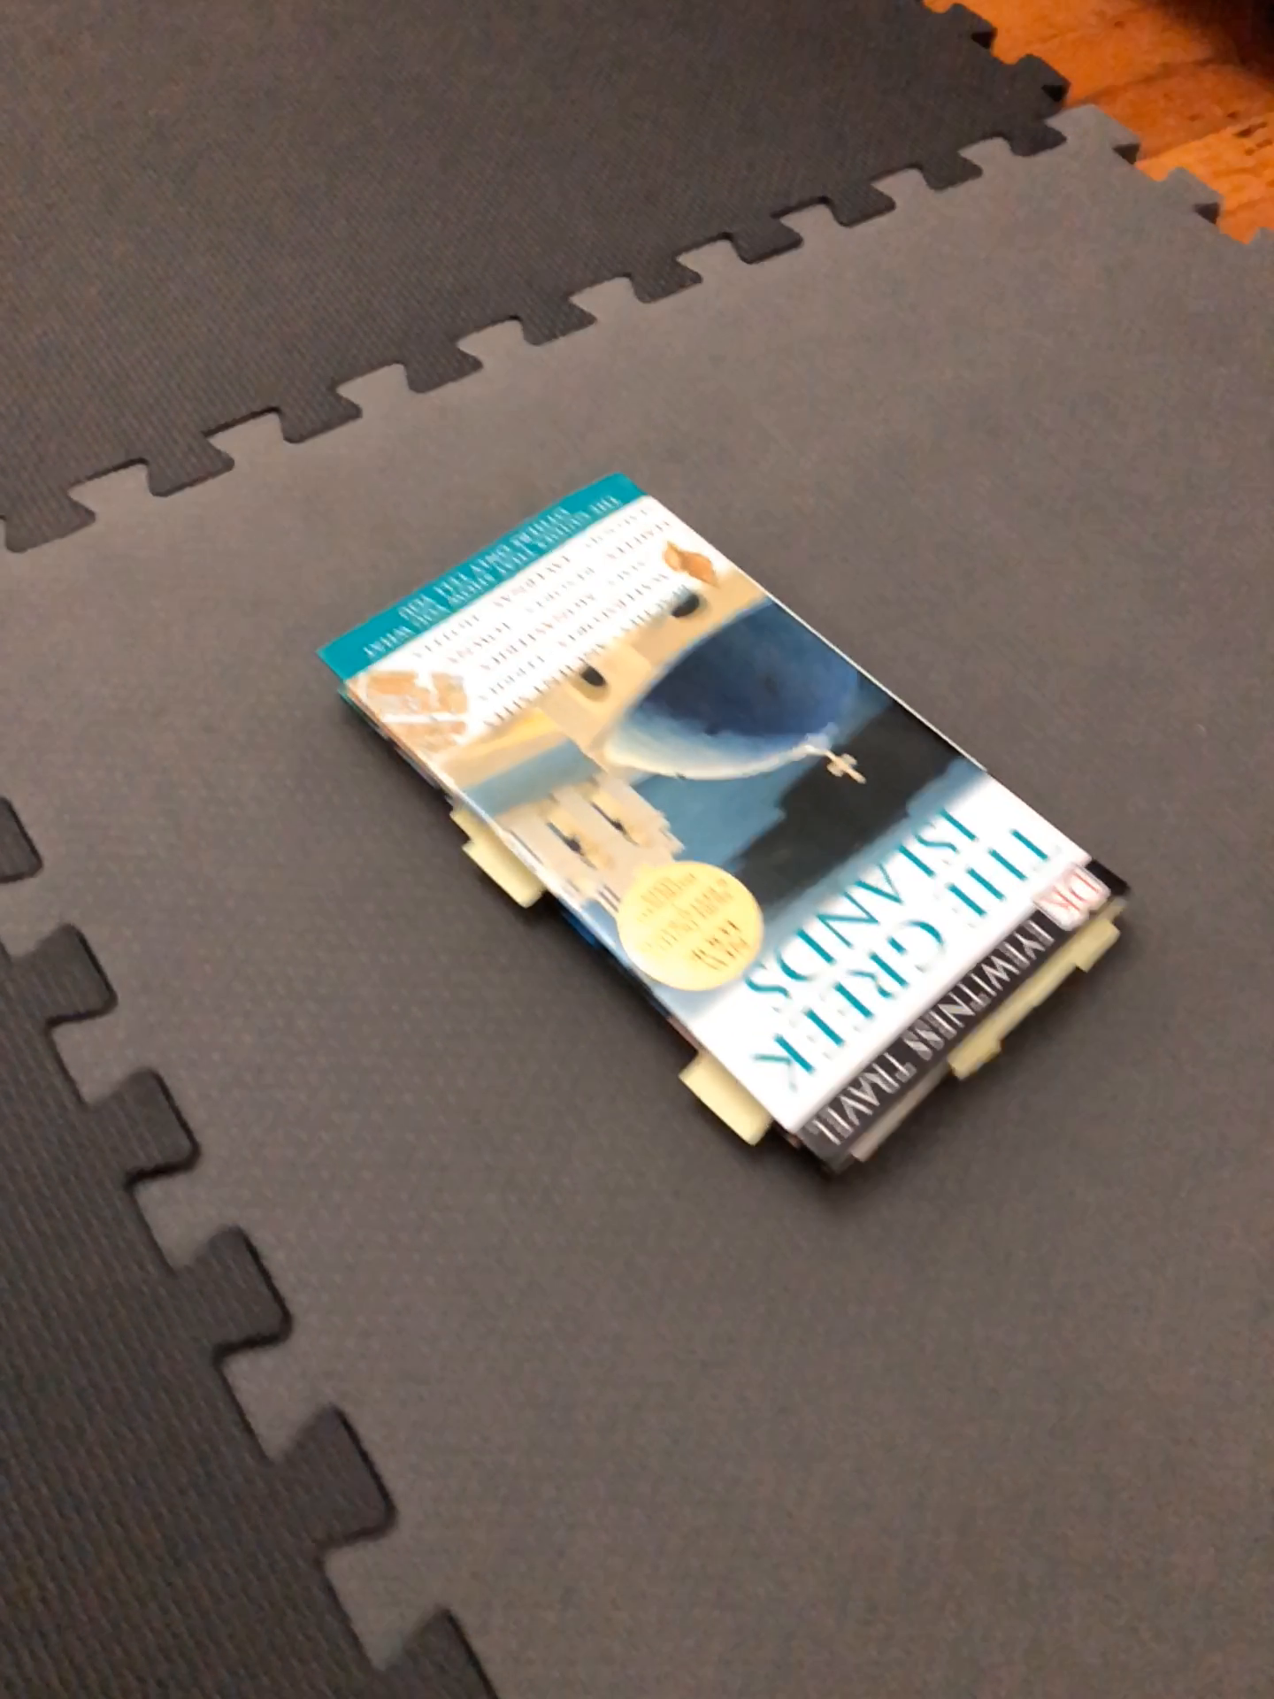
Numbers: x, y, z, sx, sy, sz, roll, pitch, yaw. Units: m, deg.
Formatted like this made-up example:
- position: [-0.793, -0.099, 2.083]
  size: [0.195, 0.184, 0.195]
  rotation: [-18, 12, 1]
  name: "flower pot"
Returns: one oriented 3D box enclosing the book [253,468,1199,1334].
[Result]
- position: [0.021, -0.004, 0.427]
  size: [0.160, 0.030, 0.240]
  rotation: [-36, 67, -24]
  name: "book"
